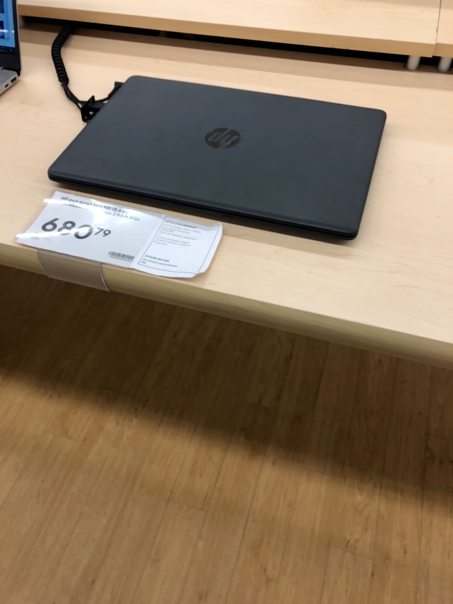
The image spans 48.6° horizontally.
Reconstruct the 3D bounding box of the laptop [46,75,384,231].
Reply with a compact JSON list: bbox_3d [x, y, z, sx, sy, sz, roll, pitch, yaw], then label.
[{"bbox_3d":[-0.004,-0.210,0.649,0.374,0.005,0.245,13,52,13],"label":"laptop"}]
